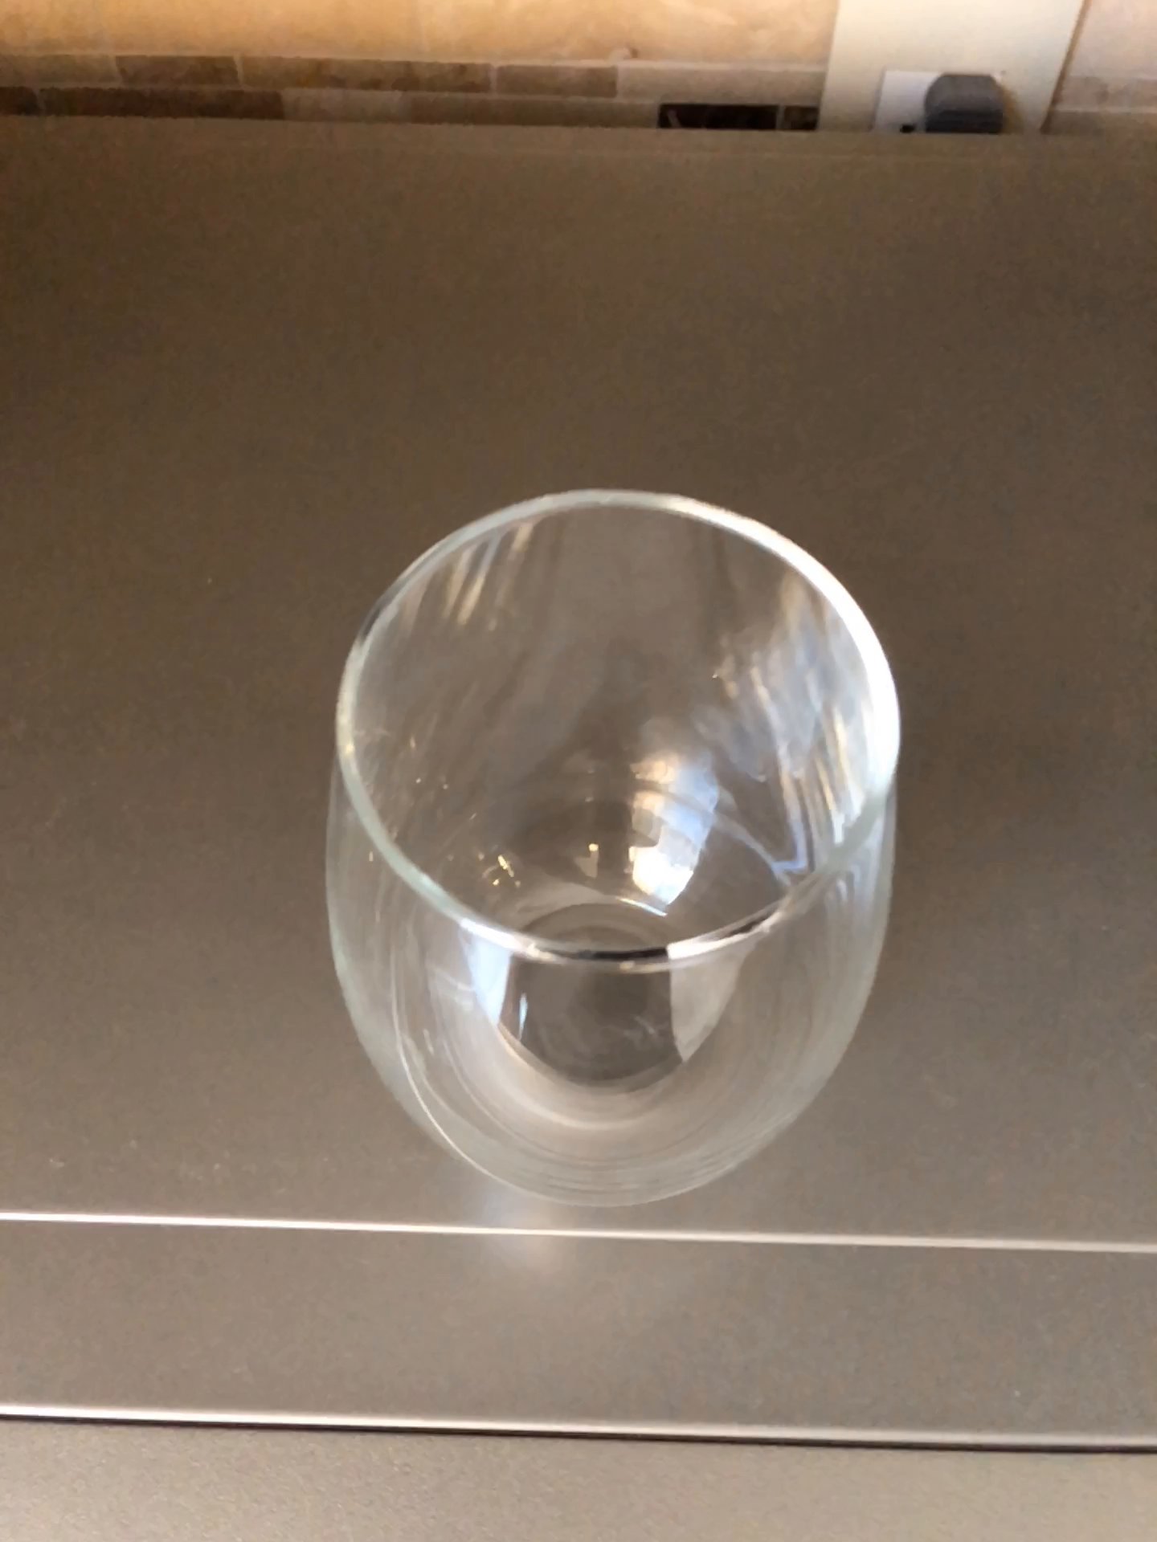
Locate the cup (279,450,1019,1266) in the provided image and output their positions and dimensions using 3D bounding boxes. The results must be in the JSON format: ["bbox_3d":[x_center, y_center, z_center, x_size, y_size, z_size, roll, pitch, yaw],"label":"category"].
[{"bbox_3d":[0.004,0.021,0.202,0.078,0.104,0.083,0,60,0],"label":"cup"}]
